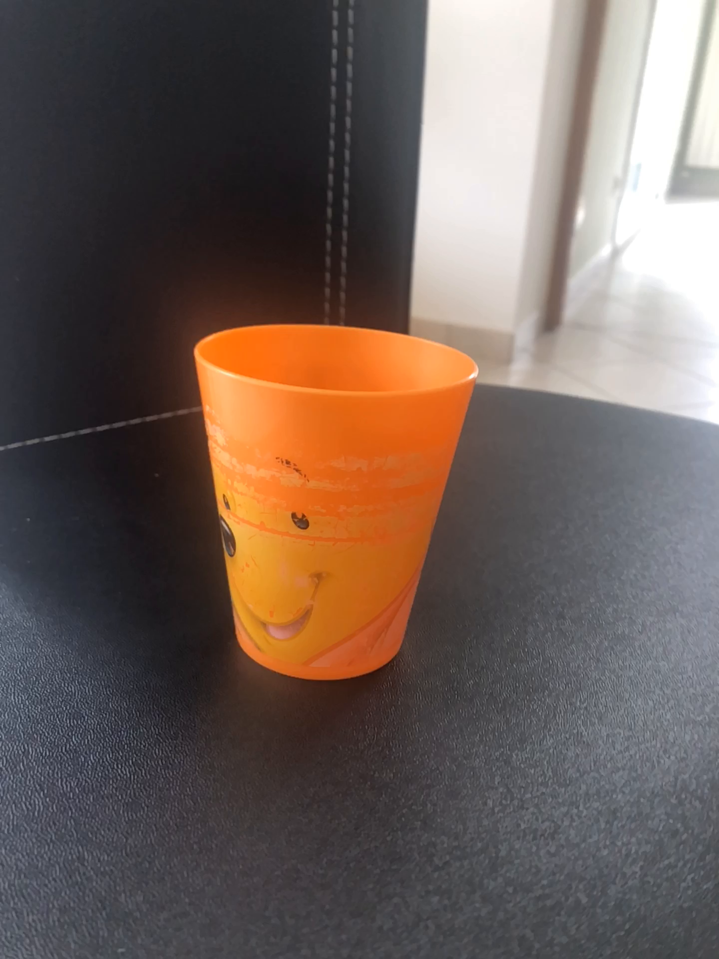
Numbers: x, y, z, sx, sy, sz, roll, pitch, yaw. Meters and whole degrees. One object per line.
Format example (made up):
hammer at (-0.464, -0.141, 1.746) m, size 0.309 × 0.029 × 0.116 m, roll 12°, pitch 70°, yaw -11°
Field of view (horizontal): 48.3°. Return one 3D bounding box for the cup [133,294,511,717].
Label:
cup at (-0.008, 0.000, 0.244) m, size 0.080 × 0.090 × 0.081 m, roll 3°, pitch 24°, yaw -1°
